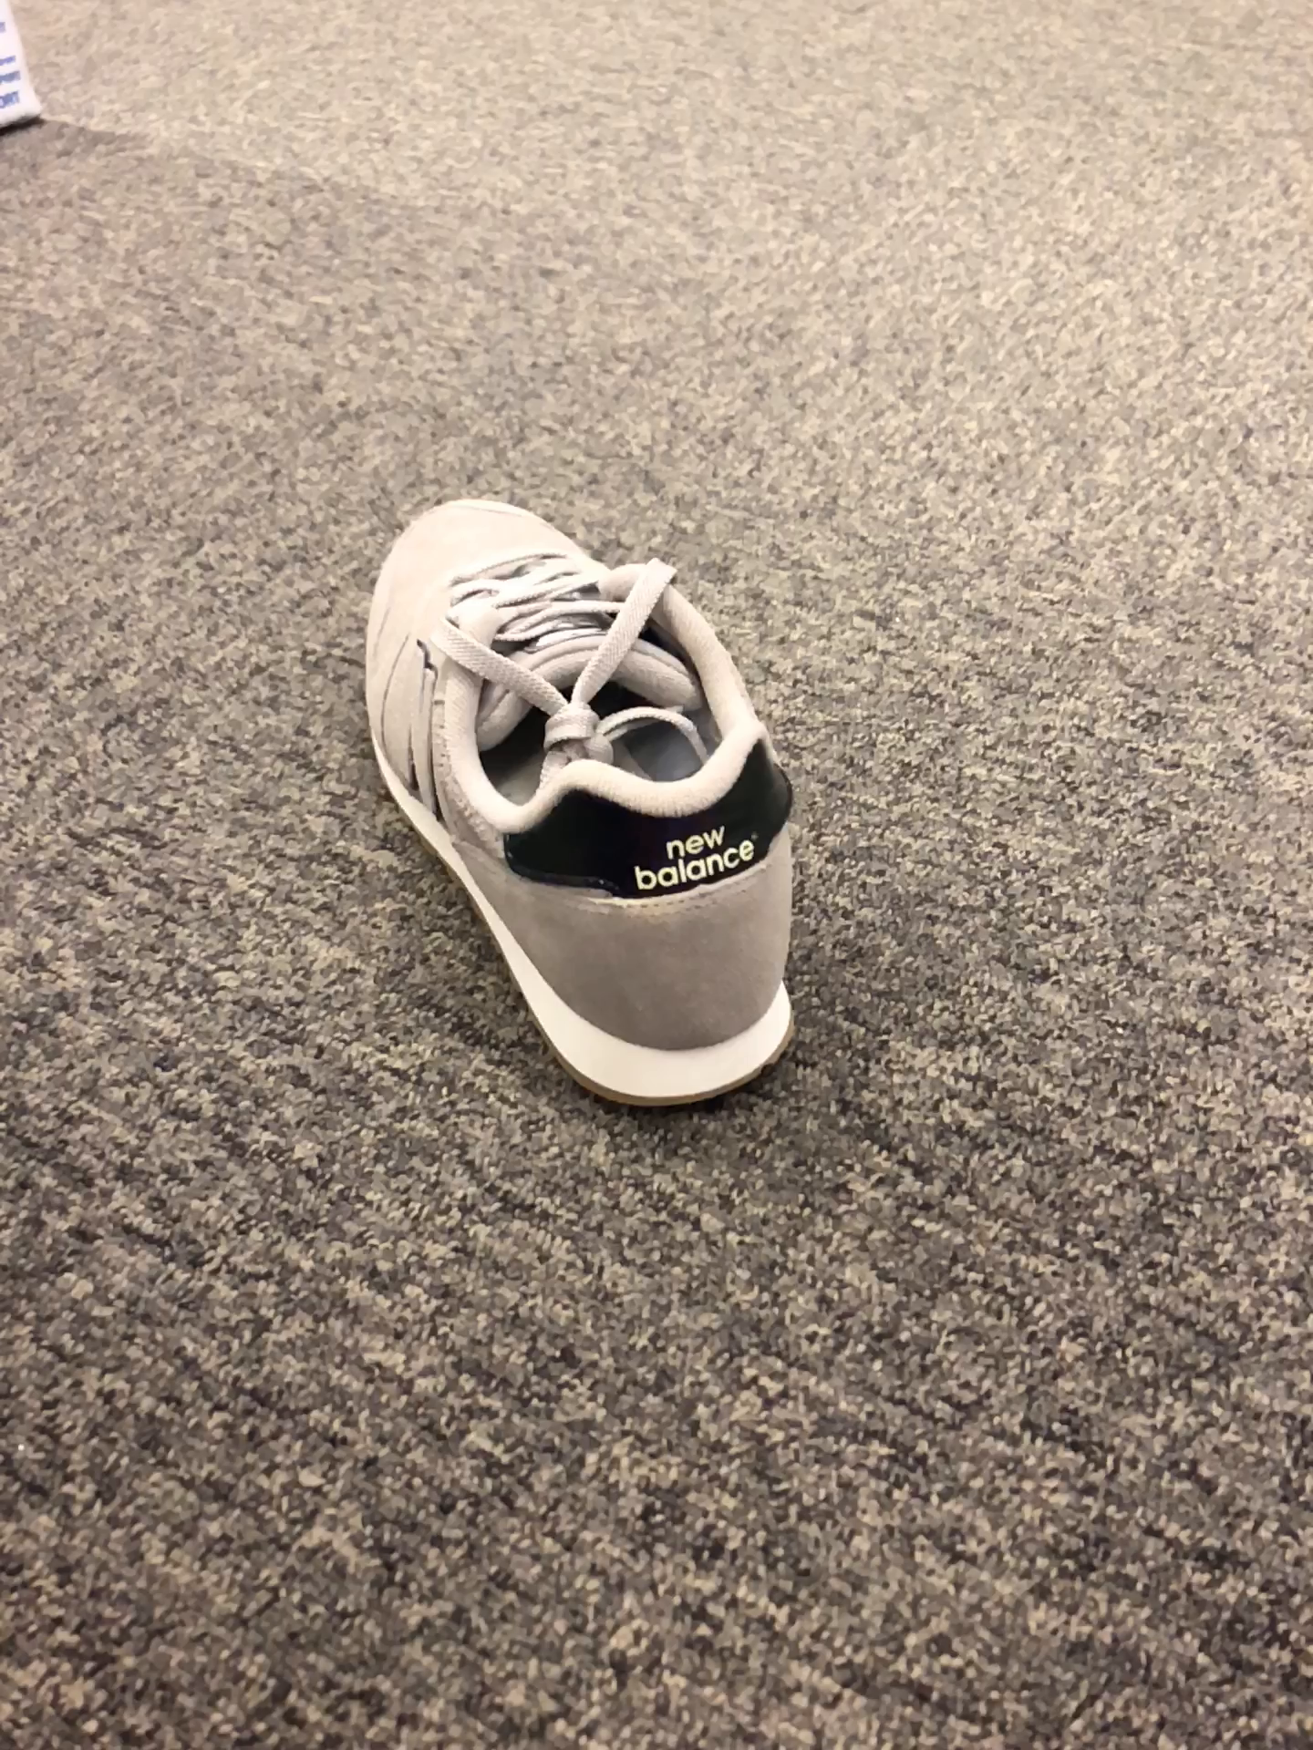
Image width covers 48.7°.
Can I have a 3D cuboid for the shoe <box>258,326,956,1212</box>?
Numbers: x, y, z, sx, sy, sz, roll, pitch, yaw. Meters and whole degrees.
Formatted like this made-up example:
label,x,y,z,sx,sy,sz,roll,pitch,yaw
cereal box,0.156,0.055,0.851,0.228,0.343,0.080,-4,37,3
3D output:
label,x,y,z,sx,sy,sz,roll,pitch,yaw
shoe,-0.029,-0.051,0.427,0.100,0.109,0.261,-17,45,-15
